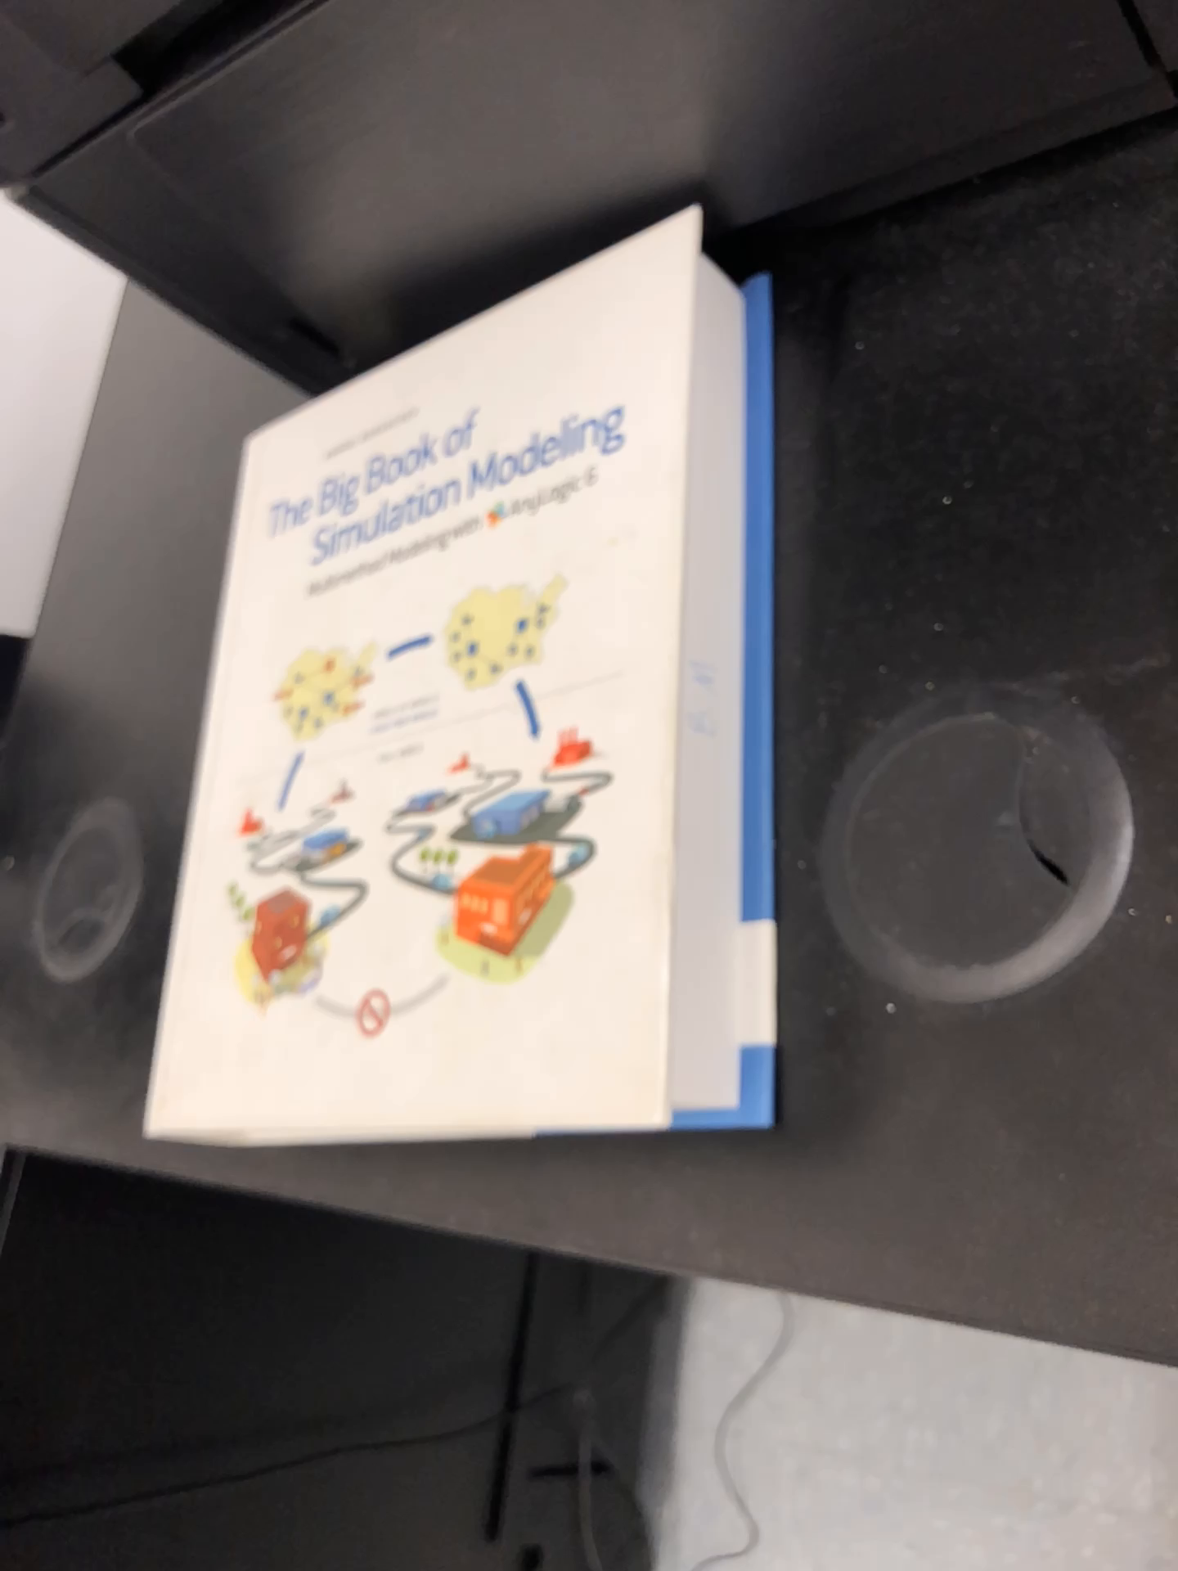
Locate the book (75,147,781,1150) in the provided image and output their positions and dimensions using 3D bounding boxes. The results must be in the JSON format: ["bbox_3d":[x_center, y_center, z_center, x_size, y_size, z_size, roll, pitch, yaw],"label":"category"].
[{"bbox_3d":[-0.048,-0.025,0.388,0.211,0.050,0.250,-12,65,37],"label":"book"}]
